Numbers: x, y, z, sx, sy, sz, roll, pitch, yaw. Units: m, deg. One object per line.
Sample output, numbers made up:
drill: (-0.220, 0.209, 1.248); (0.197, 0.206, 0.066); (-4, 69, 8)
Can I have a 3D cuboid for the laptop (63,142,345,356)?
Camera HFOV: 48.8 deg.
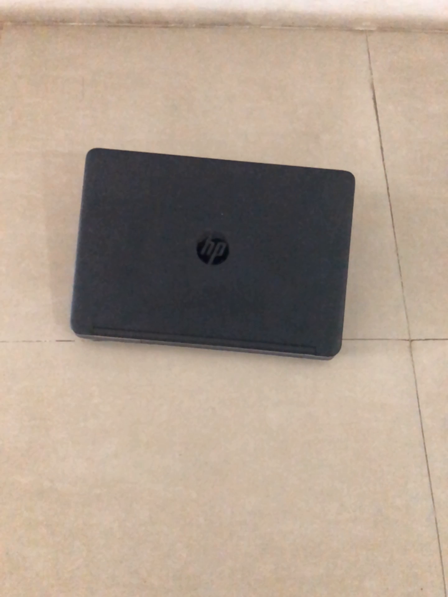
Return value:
laptop: (-0.015, -0.059, 0.608); (0.304, 0.085, 0.215); (5, 73, -1)
